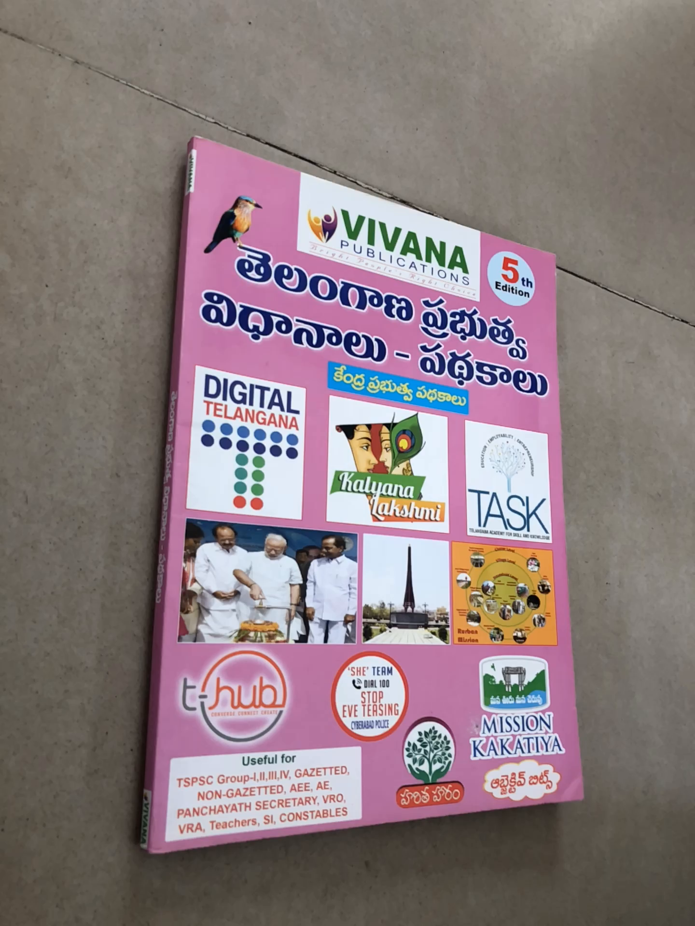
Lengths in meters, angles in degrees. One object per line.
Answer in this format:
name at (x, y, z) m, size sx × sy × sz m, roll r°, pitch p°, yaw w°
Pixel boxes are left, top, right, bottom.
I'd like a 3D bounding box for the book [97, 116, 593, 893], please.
book at (0.013, 0.016, 0.328) m, size 0.200 × 0.040 × 0.270 m, roll 8°, pitch 76°, yaw -29°
